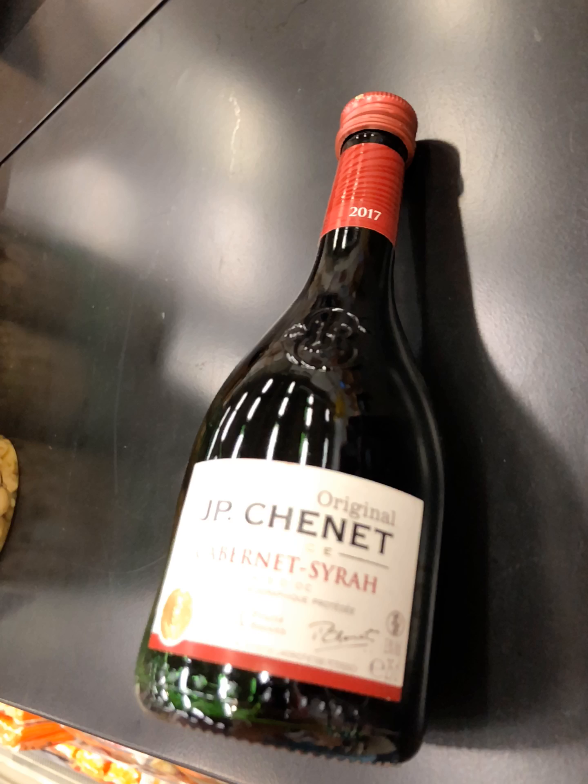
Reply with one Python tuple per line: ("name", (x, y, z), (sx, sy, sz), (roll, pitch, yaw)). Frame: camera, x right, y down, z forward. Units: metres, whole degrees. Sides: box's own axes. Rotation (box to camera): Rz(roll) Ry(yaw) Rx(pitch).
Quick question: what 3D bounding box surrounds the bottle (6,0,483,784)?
("bottle", (-0.002, -0.018, 0.170), (0.070, 0.060, 0.200), (-12, 62, 43))
